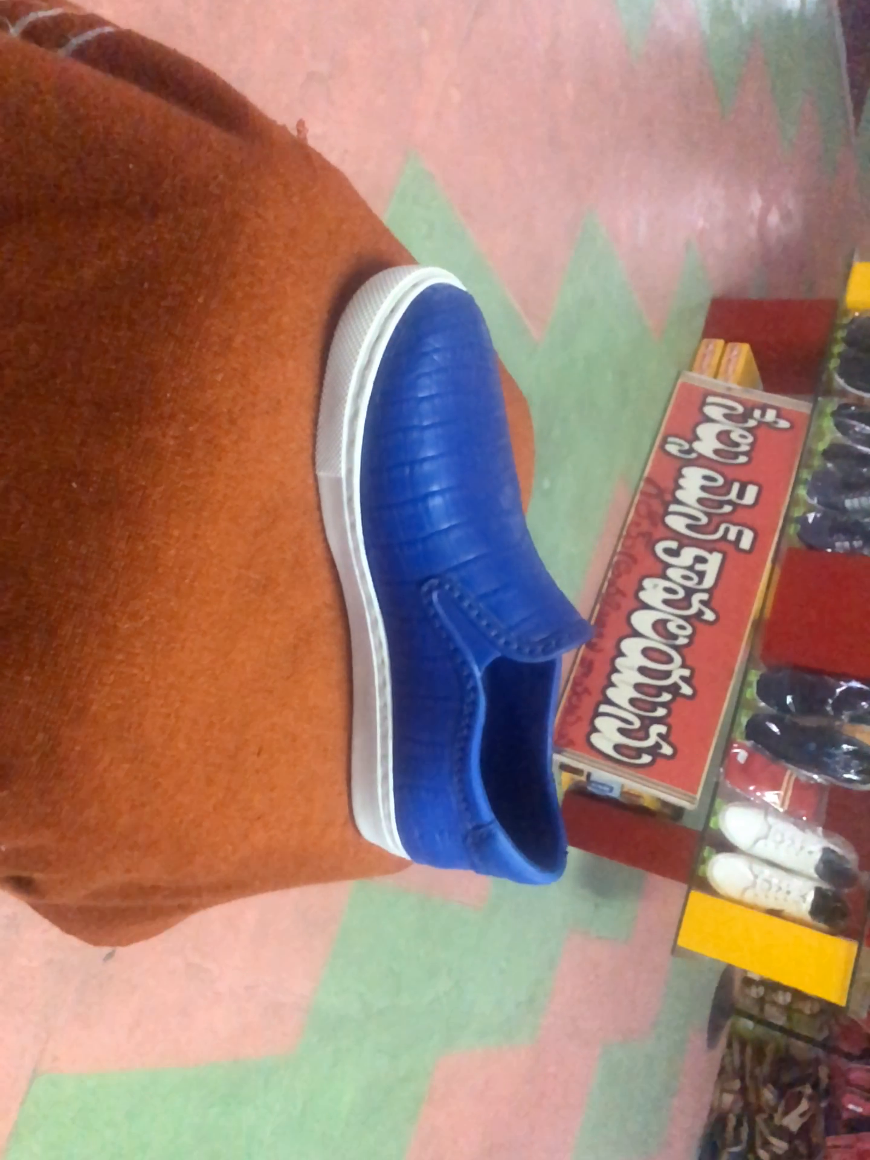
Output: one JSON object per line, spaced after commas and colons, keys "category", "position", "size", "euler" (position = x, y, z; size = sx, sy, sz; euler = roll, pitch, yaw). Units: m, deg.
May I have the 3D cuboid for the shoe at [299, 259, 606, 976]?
{"category": "shoe", "position": [0.016, 0.012, 0.443], "size": [0.111, 0.079, 0.300], "euler": [-27, 120, -52]}
